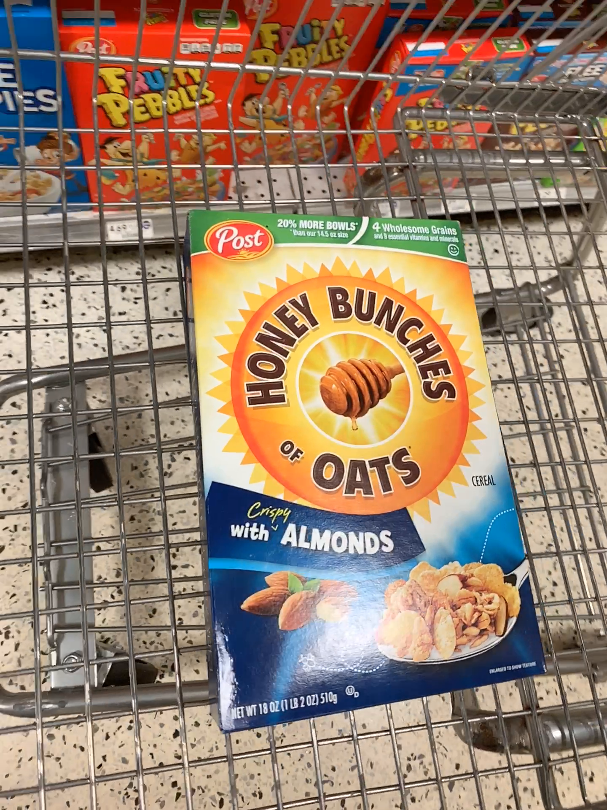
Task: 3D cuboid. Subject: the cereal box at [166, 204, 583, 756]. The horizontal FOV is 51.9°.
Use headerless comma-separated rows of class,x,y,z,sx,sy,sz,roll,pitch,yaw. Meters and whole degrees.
cereal box,0.030,0.026,0.391,0.210,0.060,0.301,-2,73,-15
